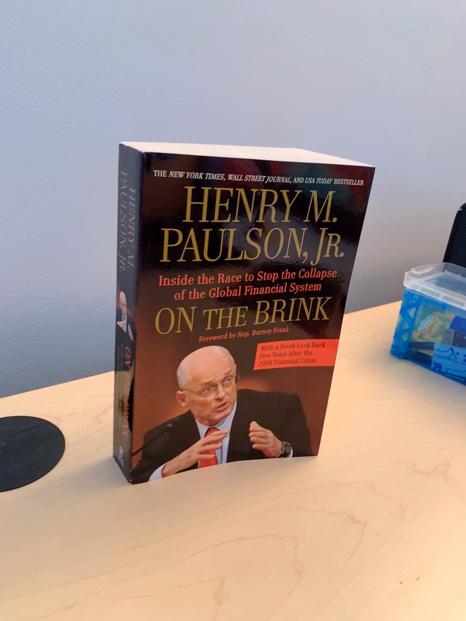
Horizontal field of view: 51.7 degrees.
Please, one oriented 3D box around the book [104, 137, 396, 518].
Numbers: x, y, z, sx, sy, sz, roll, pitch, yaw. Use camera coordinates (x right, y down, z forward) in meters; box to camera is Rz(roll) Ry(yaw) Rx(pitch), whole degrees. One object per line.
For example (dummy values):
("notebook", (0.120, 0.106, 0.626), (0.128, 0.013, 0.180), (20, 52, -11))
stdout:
("book", (0.003, 0.005, 0.345), (0.167, 0.228, 0.082), (-8, 26, -30))
